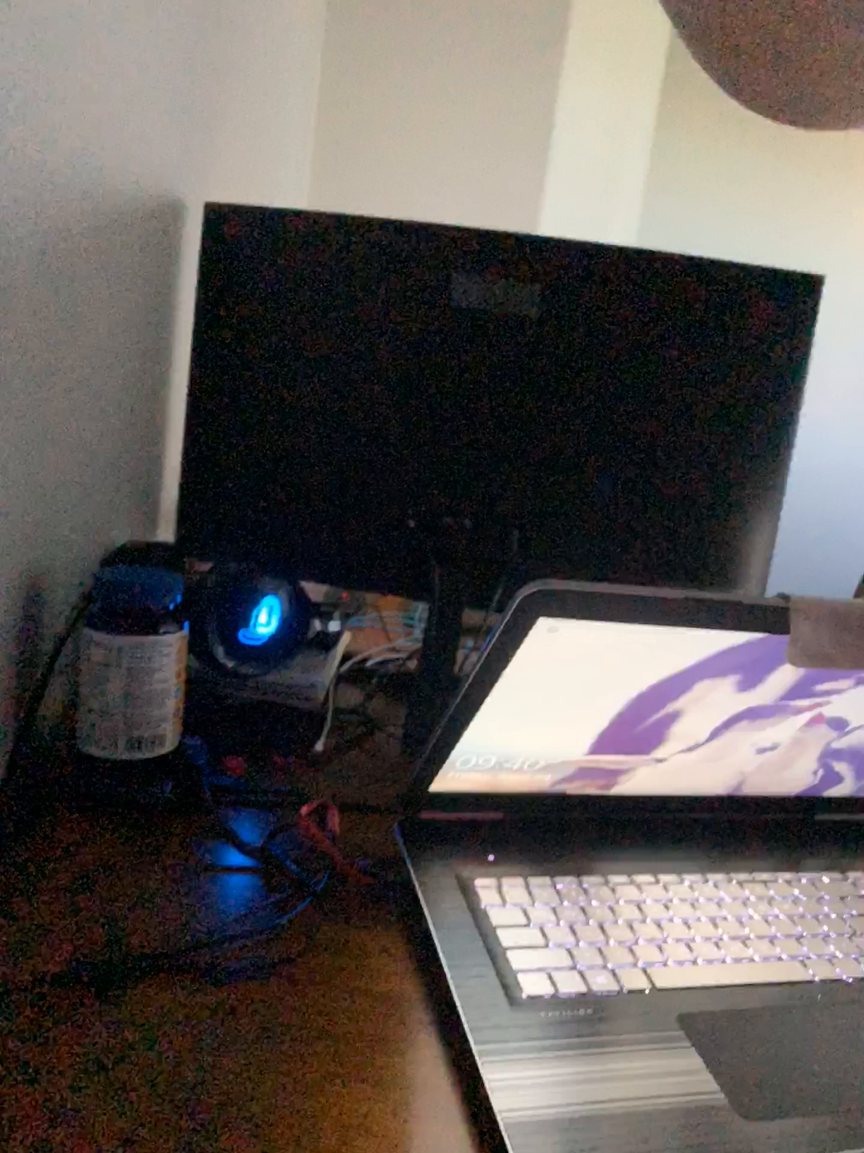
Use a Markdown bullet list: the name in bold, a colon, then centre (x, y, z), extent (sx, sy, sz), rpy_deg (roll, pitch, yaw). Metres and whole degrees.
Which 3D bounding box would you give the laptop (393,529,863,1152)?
- **laptop**: centre (0.208, 0.115, 0.500), extent (0.393, 0.187, 0.258), rpy_deg (5, 15, -17)
